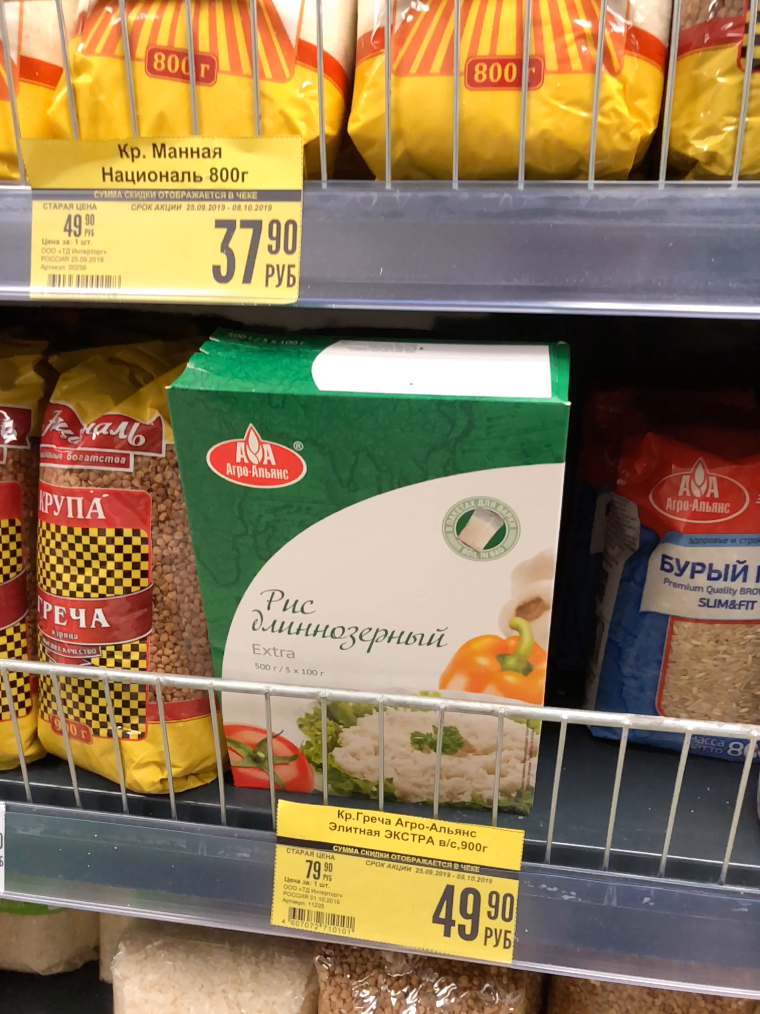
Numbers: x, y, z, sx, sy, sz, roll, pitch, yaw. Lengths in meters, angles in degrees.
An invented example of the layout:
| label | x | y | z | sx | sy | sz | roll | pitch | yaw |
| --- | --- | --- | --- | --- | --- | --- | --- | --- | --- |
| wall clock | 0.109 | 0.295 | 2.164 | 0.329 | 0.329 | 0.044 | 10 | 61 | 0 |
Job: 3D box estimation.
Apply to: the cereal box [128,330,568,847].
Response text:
| label | x | y | z | sx | sy | sz | roll | pitch | yaw |
| --- | --- | --- | --- | --- | --- | --- | --- | --- | --- |
| cereal box | -0.005 | 0.040 | 0.339 | 0.140 | 0.209 | 0.050 | 3 | 32 | 9 |
